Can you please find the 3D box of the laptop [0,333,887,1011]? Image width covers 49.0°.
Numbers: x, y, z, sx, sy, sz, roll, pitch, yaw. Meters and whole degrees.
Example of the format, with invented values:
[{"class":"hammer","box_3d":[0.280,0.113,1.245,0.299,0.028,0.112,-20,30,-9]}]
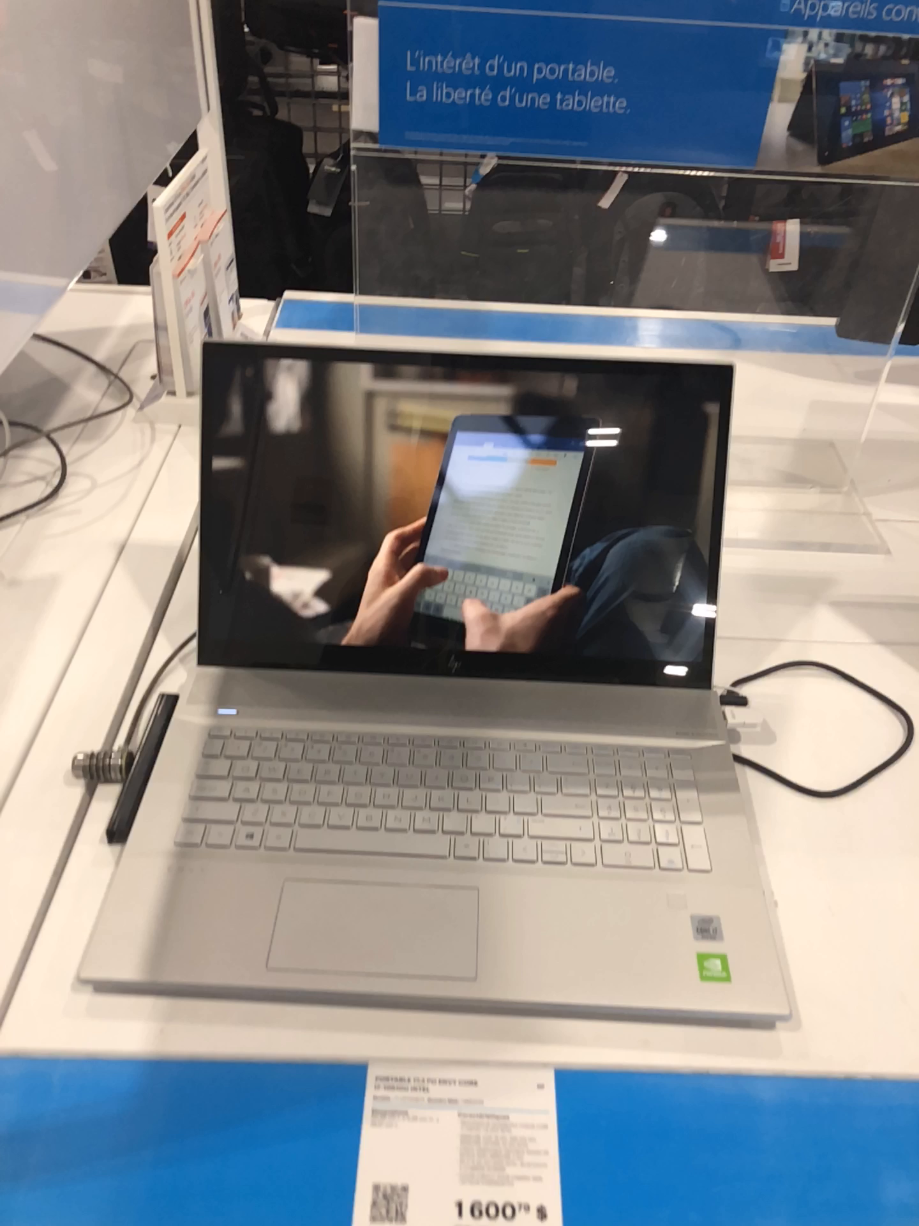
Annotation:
[{"class":"laptop","box_3d":[-0.006,0.007,0.656,0.390,0.199,0.399,3,39,0]}]
